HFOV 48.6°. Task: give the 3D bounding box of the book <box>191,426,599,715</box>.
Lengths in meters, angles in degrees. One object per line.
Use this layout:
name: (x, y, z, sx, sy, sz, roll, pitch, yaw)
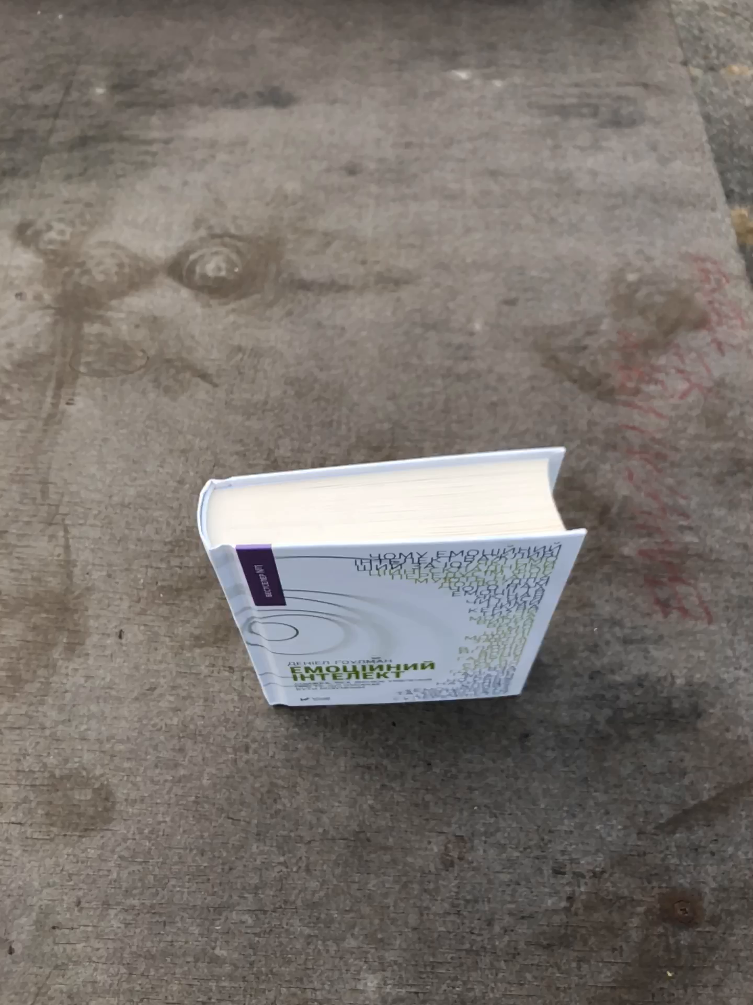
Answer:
book: (0.006, 0.048, 0.428, 0.160, 0.209, 0.050, -3, 59, -2)
